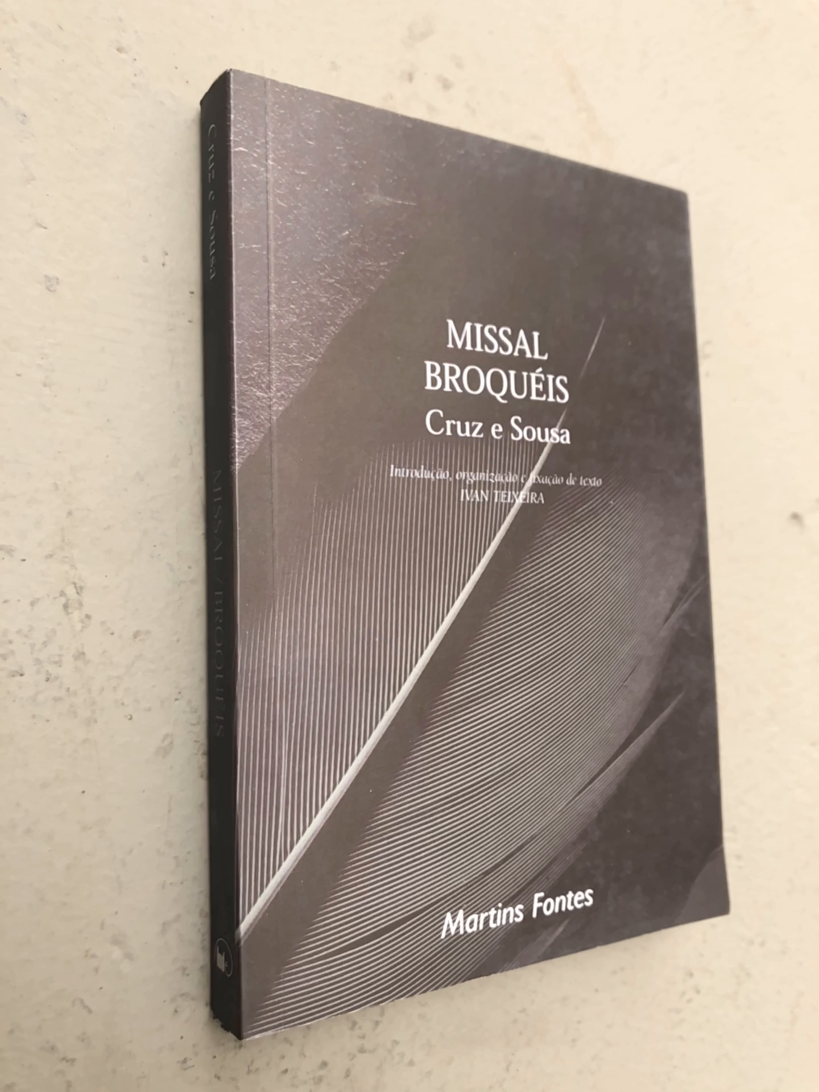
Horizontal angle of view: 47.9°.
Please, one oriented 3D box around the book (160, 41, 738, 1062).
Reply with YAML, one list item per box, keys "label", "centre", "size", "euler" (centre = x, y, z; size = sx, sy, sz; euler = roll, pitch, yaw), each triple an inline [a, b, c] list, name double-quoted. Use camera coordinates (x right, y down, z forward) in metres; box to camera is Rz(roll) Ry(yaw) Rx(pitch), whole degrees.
- label: "book"
  centre: [0.014, -0.001, 0.195]
  size: [0.128, 0.016, 0.173]
  euler: [0, 86, -30]
